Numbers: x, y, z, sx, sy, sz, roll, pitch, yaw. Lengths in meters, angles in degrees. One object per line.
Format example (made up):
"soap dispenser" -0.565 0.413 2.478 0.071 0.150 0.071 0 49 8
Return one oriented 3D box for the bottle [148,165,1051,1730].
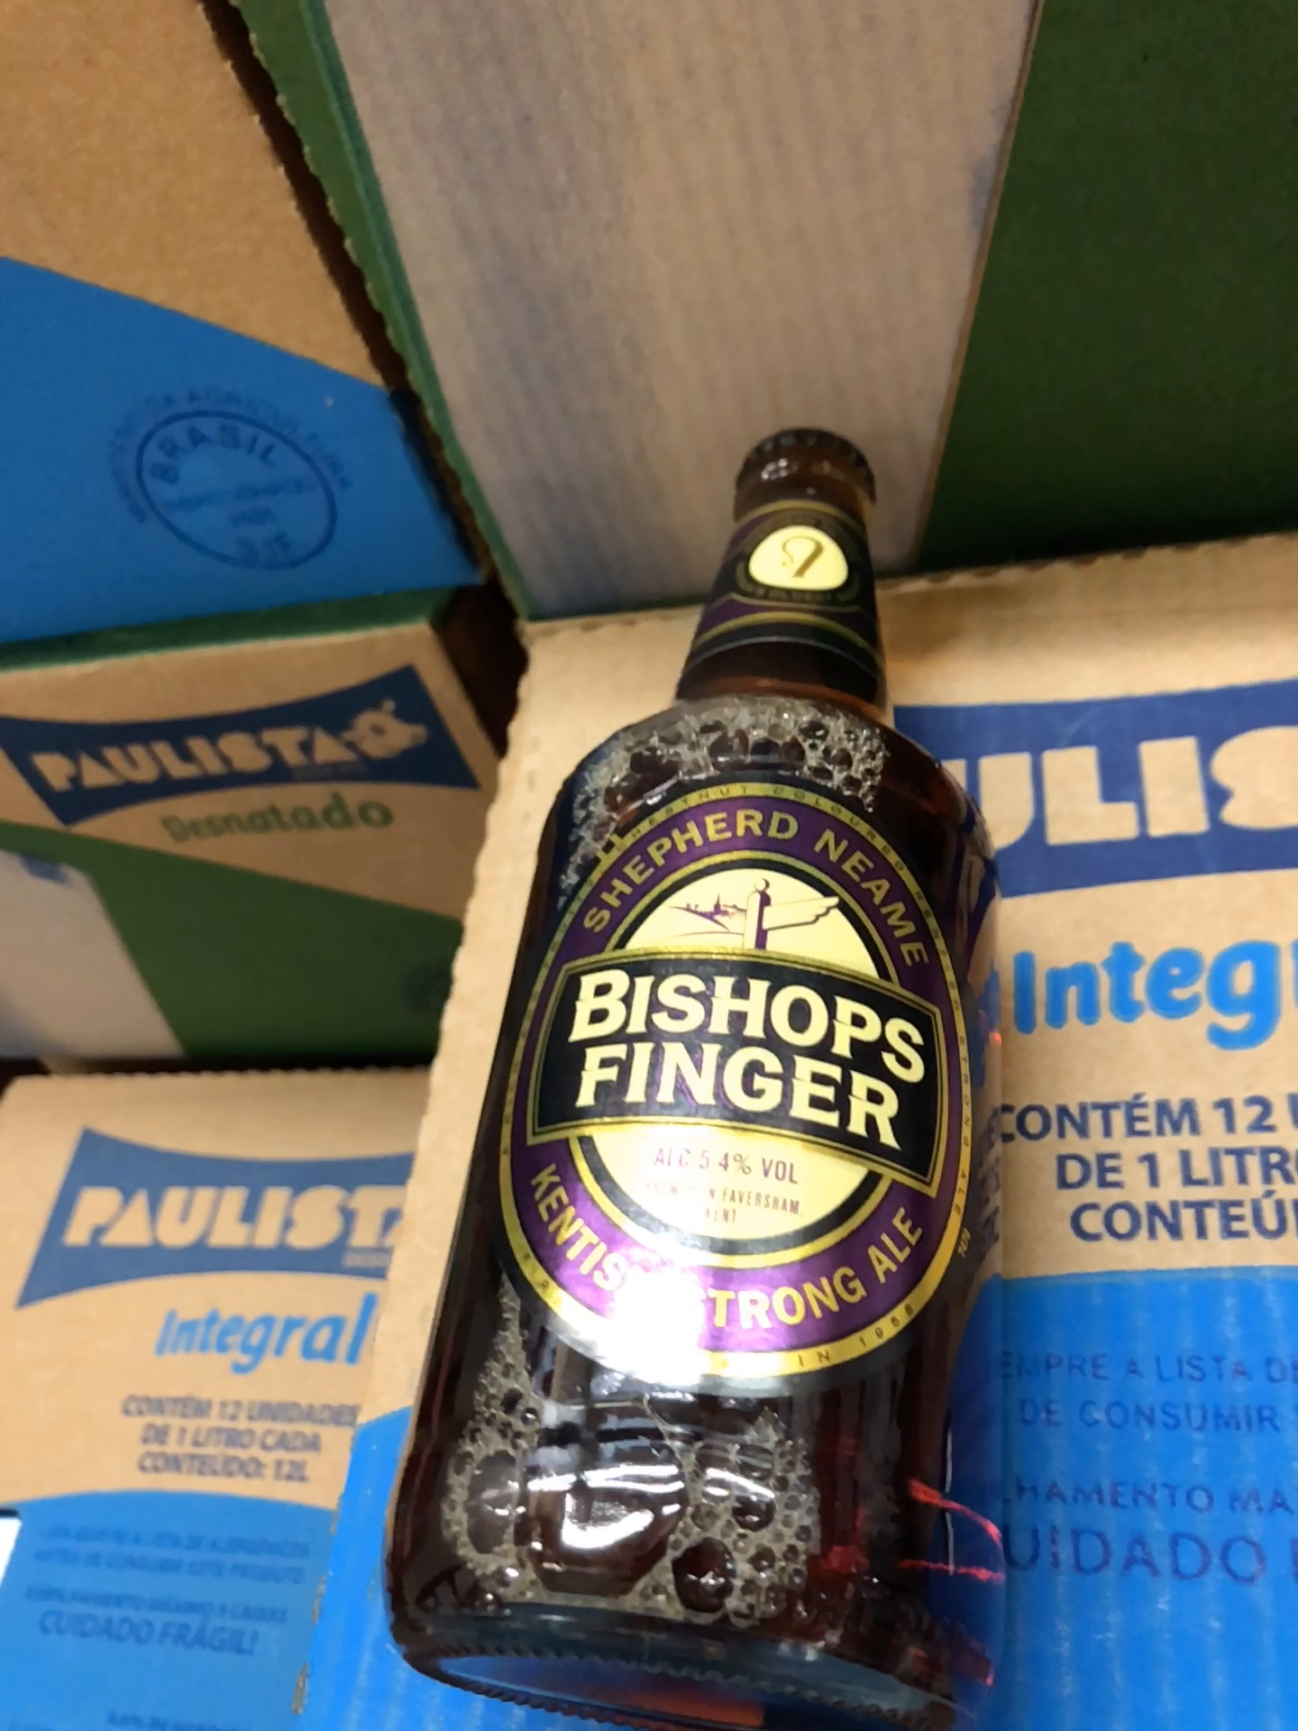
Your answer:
"bottle" 0.016 -0.006 0.230 0.080 0.070 0.251 -3 51 17
